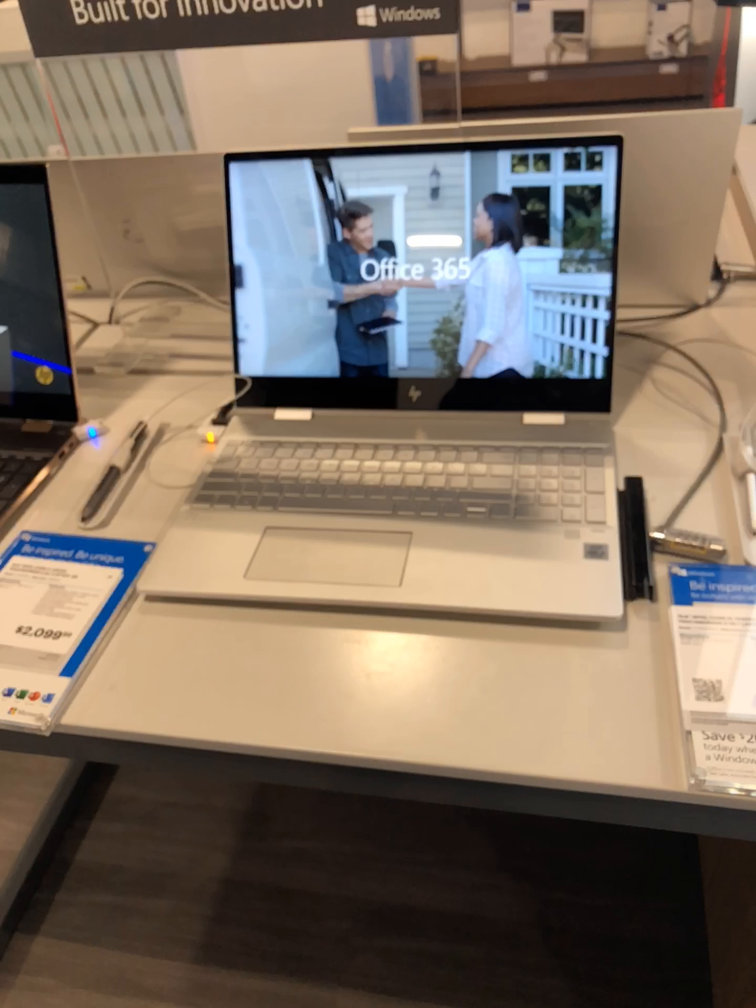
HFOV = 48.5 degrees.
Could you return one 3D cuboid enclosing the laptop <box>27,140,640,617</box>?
[{"bbox_3d":[0.006,-0.120,0.675,0.359,0.210,0.355,2,39,12],"label":"laptop"}]
